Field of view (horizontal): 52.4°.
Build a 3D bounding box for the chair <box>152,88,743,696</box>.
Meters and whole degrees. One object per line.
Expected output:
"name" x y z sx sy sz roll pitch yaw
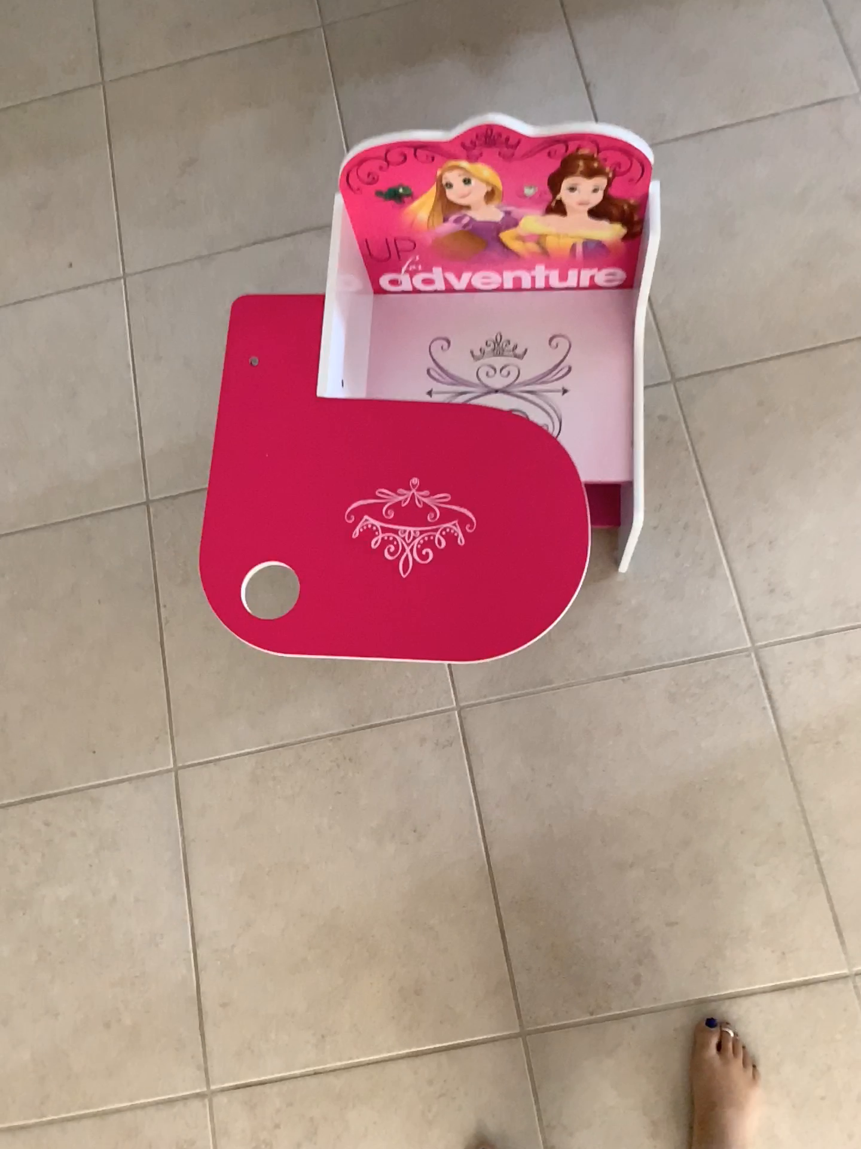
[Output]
"chair" 0.044 -0.155 1.128 0.531 0.570 0.550 -1 74 7
